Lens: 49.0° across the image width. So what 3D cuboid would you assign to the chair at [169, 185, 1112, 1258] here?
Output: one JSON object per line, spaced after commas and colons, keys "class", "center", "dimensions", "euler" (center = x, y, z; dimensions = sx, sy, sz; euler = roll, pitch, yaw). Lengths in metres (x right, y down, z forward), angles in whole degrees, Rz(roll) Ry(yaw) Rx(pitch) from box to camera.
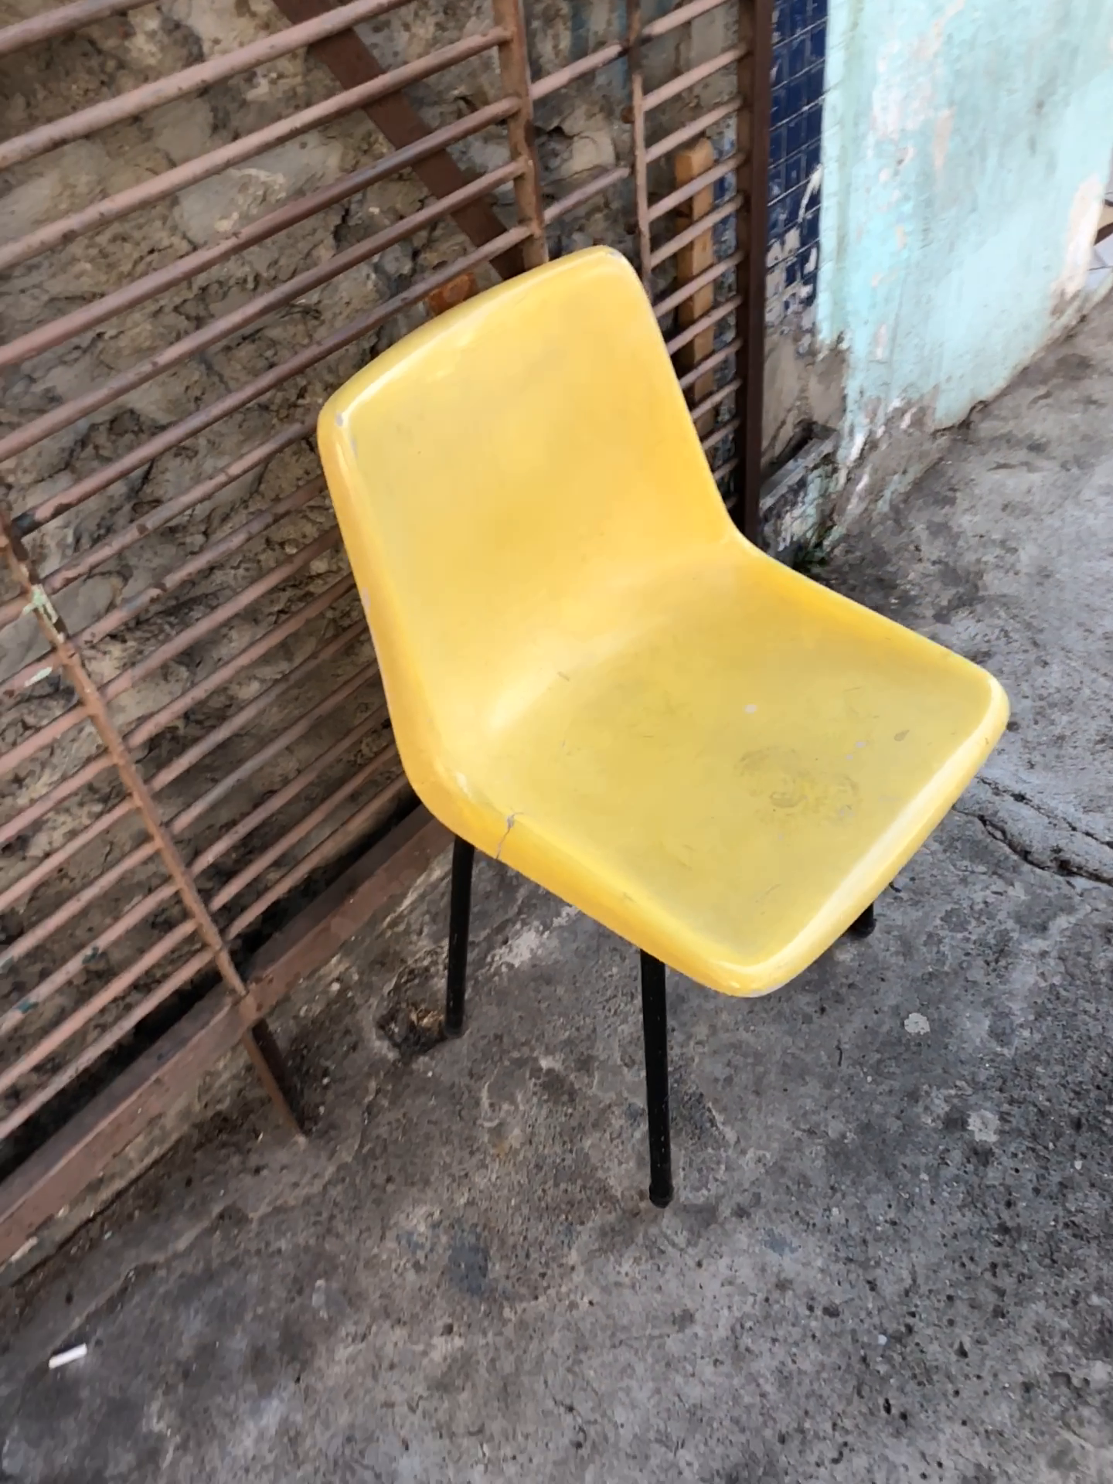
{"class": "chair", "center": [0.094, -0.011, 1.113], "dimensions": [0.472, 0.715, 0.482], "euler": [30, 56, 31]}
